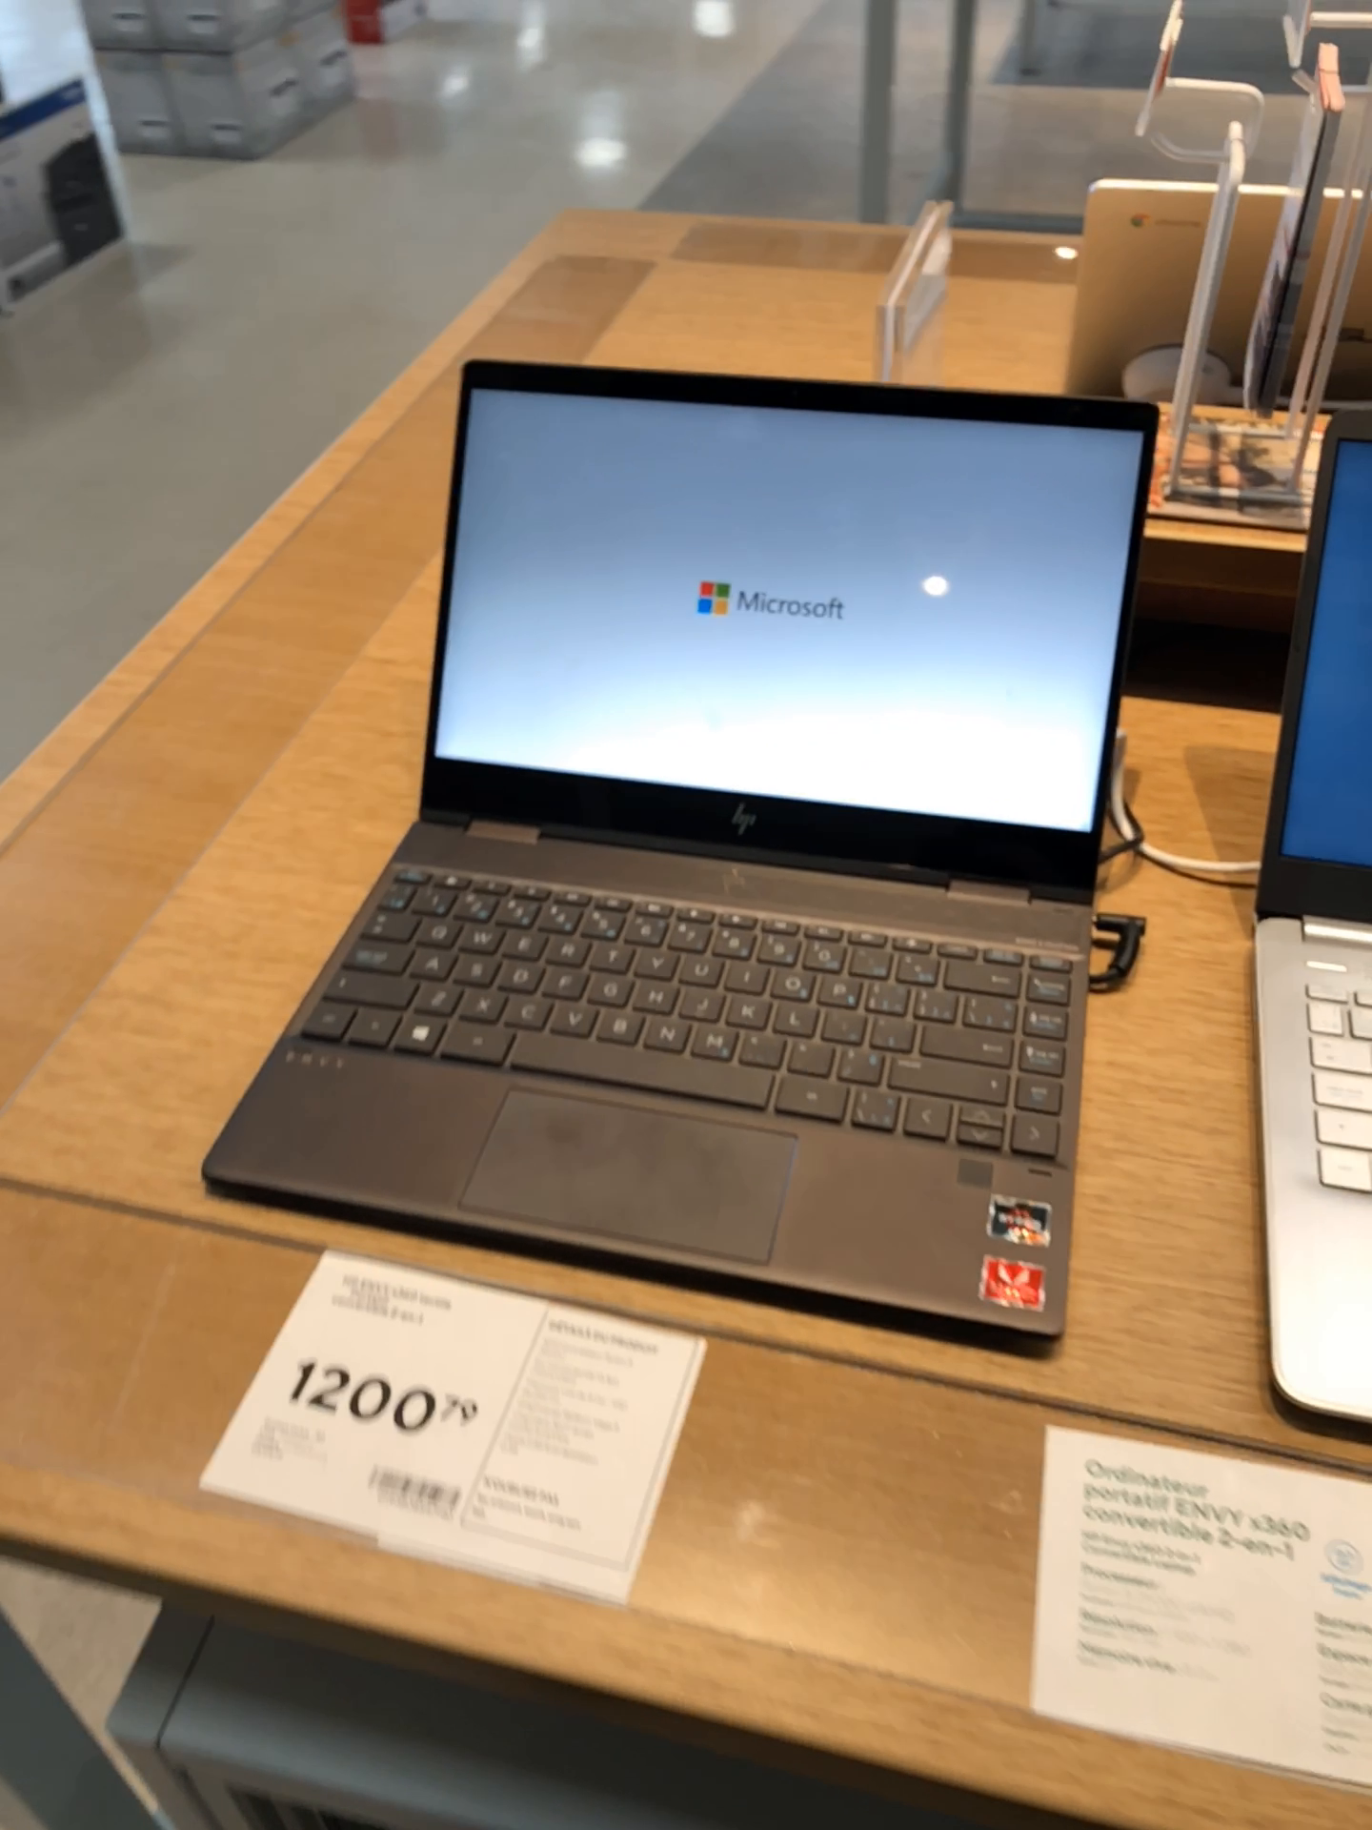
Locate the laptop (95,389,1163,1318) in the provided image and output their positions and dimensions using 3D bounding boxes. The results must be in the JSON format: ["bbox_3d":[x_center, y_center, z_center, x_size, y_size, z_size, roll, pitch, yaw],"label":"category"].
[{"bbox_3d":[0.012,-0.052,0.580,0.293,0.162,0.319,8,42,12],"label":"laptop"}]
